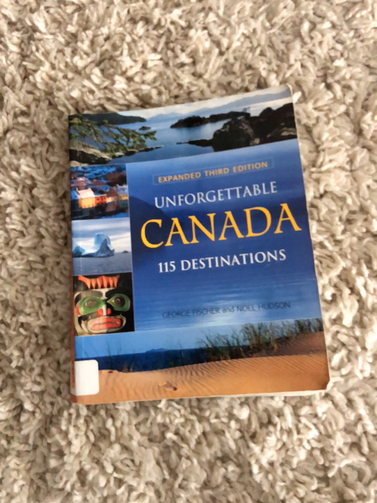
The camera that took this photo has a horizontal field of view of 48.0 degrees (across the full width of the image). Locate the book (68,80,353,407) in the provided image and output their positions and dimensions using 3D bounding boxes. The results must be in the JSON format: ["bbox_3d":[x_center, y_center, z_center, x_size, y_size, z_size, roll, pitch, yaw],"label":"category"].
[{"bbox_3d":[0.008,-0.005,0.341,0.200,0.040,0.234,-5,80,8],"label":"book"}]
